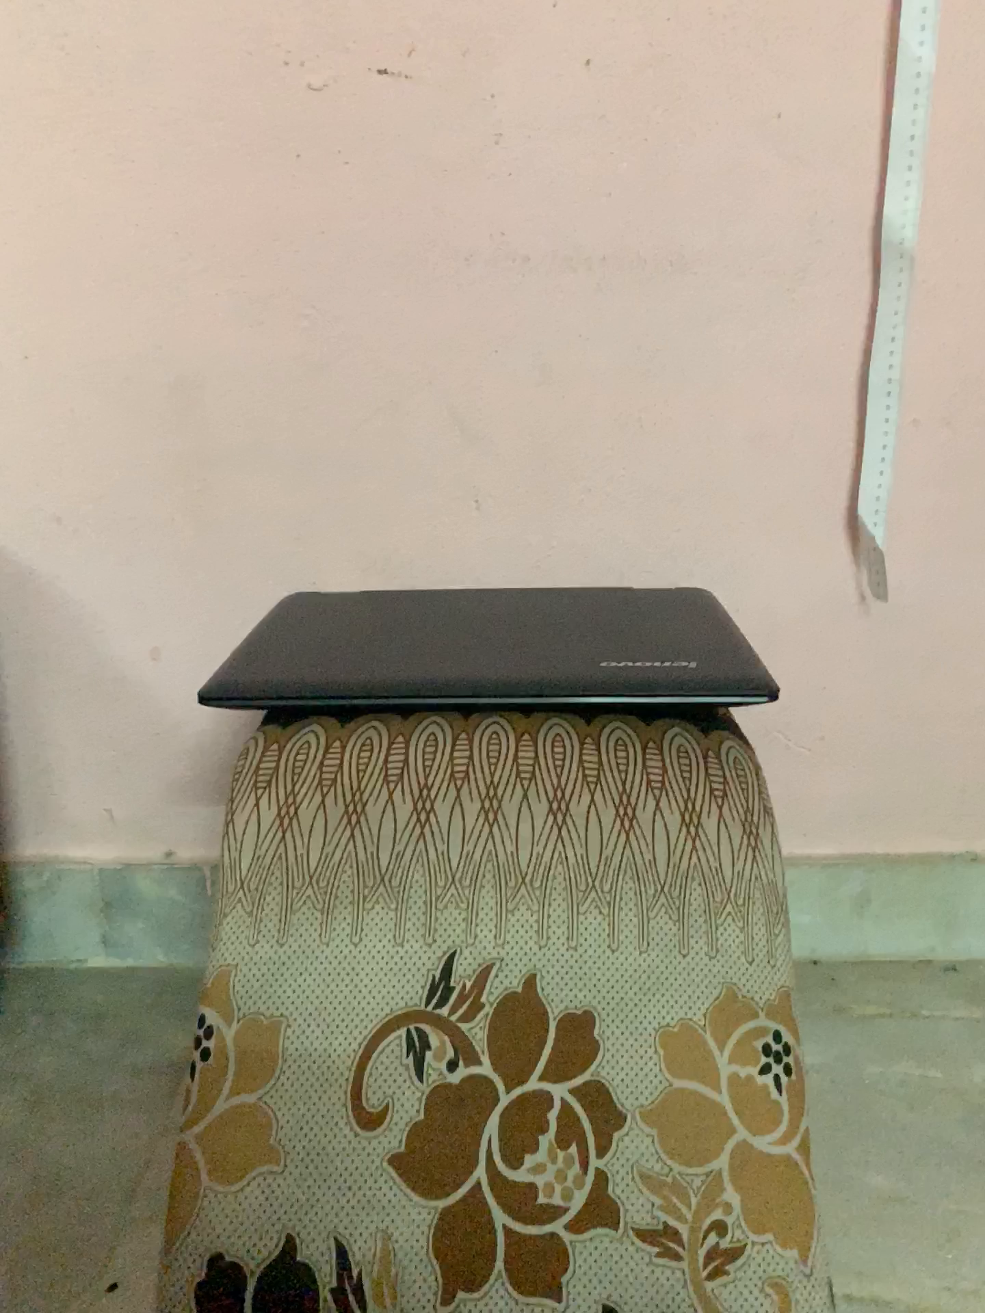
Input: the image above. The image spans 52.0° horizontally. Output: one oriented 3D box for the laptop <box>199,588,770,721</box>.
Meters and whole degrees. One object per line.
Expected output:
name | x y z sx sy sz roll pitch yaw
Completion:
laptop | -0.001 -0.008 0.654 0.312 0.012 0.214 -1 19 2
